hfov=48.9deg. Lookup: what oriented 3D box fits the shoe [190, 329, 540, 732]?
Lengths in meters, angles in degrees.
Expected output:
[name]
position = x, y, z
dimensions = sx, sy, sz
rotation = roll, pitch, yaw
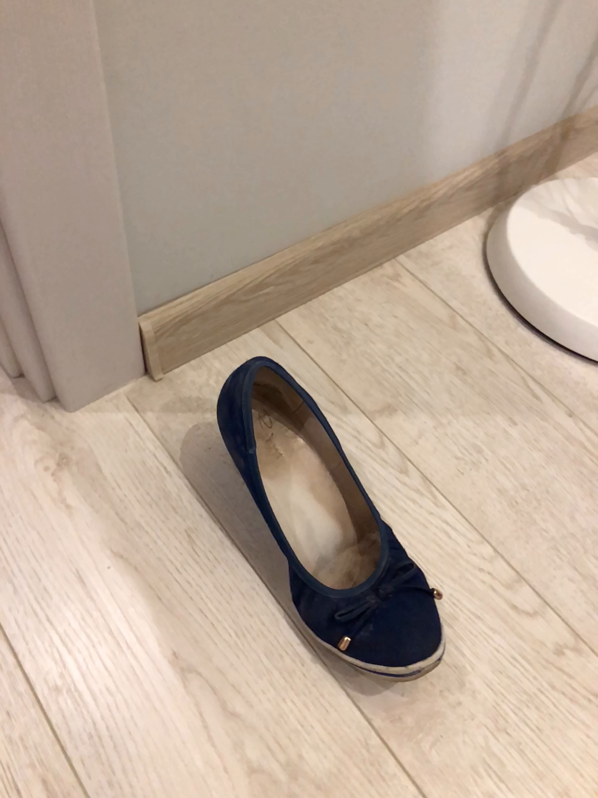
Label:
[shoe]
position = 0.027, 0.081, 0.451
dimensions = 0.099, 0.109, 0.231
rotation = -26, 60, -24
